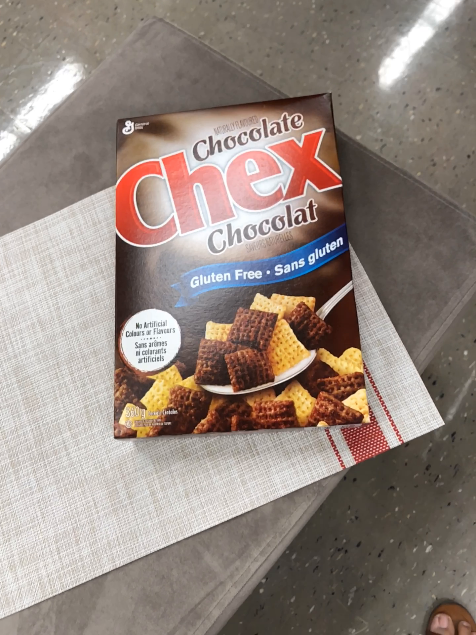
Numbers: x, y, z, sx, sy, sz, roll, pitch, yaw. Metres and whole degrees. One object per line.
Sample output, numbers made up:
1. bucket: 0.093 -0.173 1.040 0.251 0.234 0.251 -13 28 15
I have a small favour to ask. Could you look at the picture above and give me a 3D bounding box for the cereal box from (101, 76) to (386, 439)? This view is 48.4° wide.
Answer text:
1. cereal box: -0.003 -0.053 0.450 0.210 0.050 0.290 -5 74 6
